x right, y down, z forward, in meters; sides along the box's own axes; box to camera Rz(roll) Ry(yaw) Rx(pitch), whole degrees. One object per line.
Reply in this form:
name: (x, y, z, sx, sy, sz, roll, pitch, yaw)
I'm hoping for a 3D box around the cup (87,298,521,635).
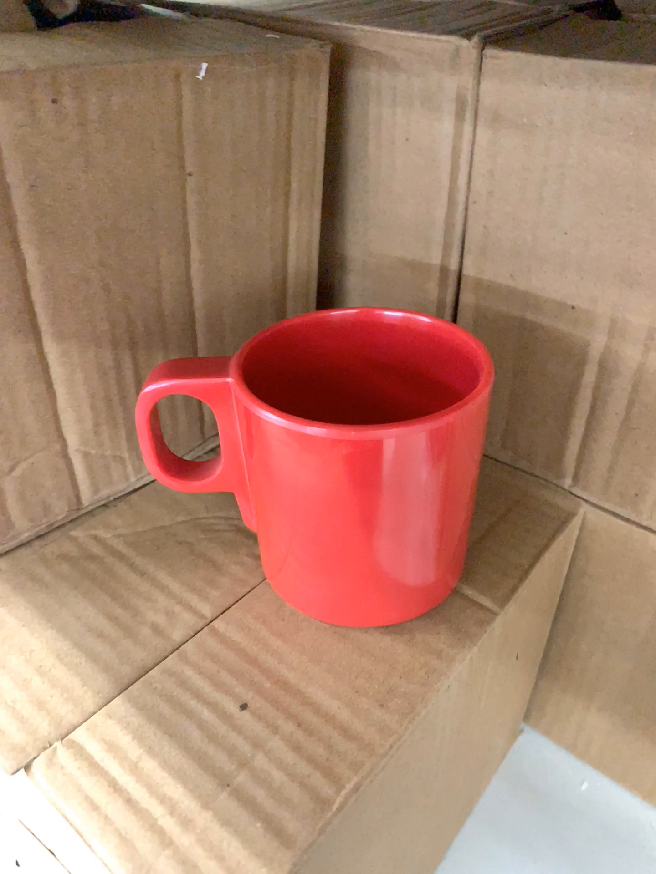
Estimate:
cup: (-0.003, 0.007, 0.210, 0.103, 0.073, 0.066, 3, 36, 6)
